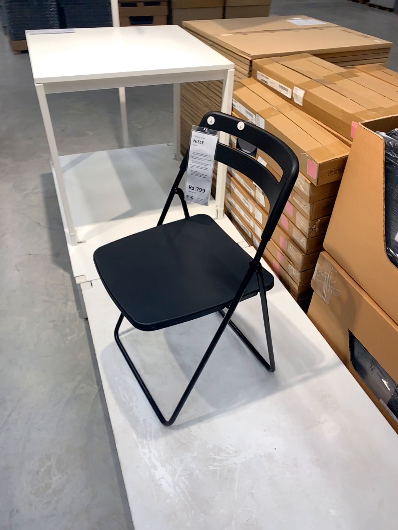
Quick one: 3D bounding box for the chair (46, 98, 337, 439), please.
[{"bbox_3d":[-0.045,-0.003,1.074,0.450,0.657,0.461,-20,45,-24],"label":"chair"}]
